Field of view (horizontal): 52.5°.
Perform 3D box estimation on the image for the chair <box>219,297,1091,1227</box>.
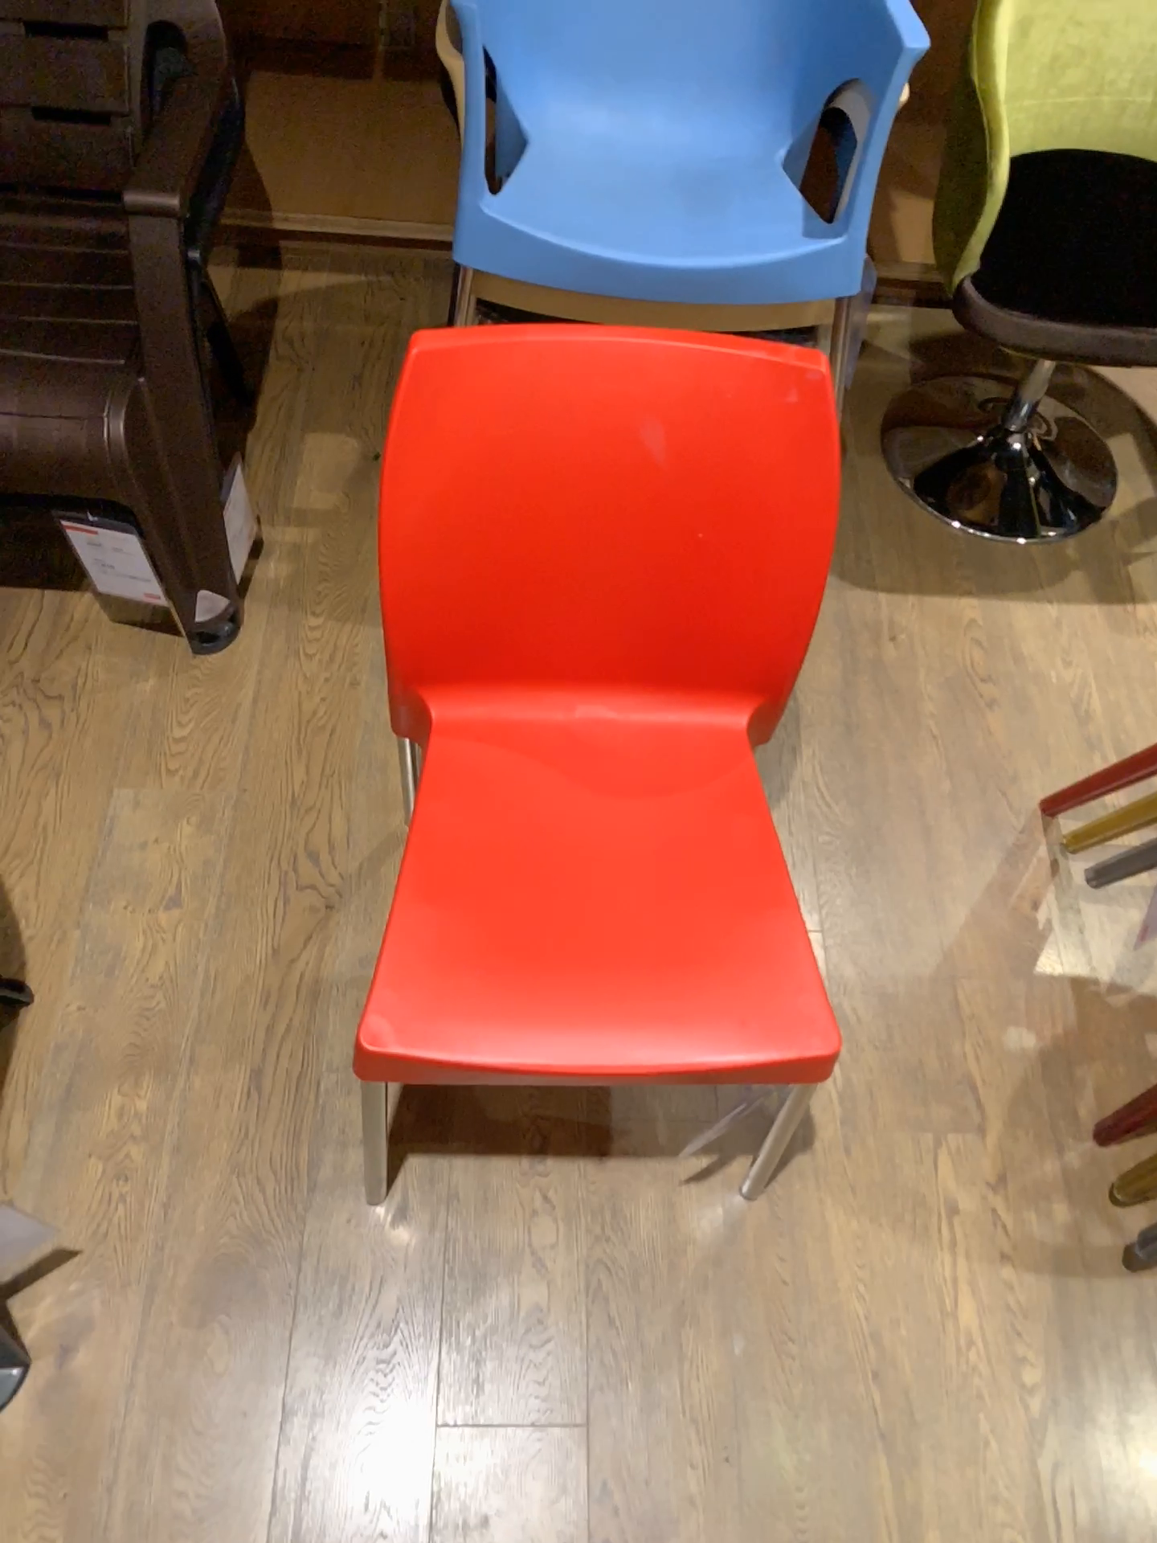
[{"bbox_3d":[0.012,0.063,1.183,0.520,0.789,0.591,0,58,-5],"label":"chair"}]
